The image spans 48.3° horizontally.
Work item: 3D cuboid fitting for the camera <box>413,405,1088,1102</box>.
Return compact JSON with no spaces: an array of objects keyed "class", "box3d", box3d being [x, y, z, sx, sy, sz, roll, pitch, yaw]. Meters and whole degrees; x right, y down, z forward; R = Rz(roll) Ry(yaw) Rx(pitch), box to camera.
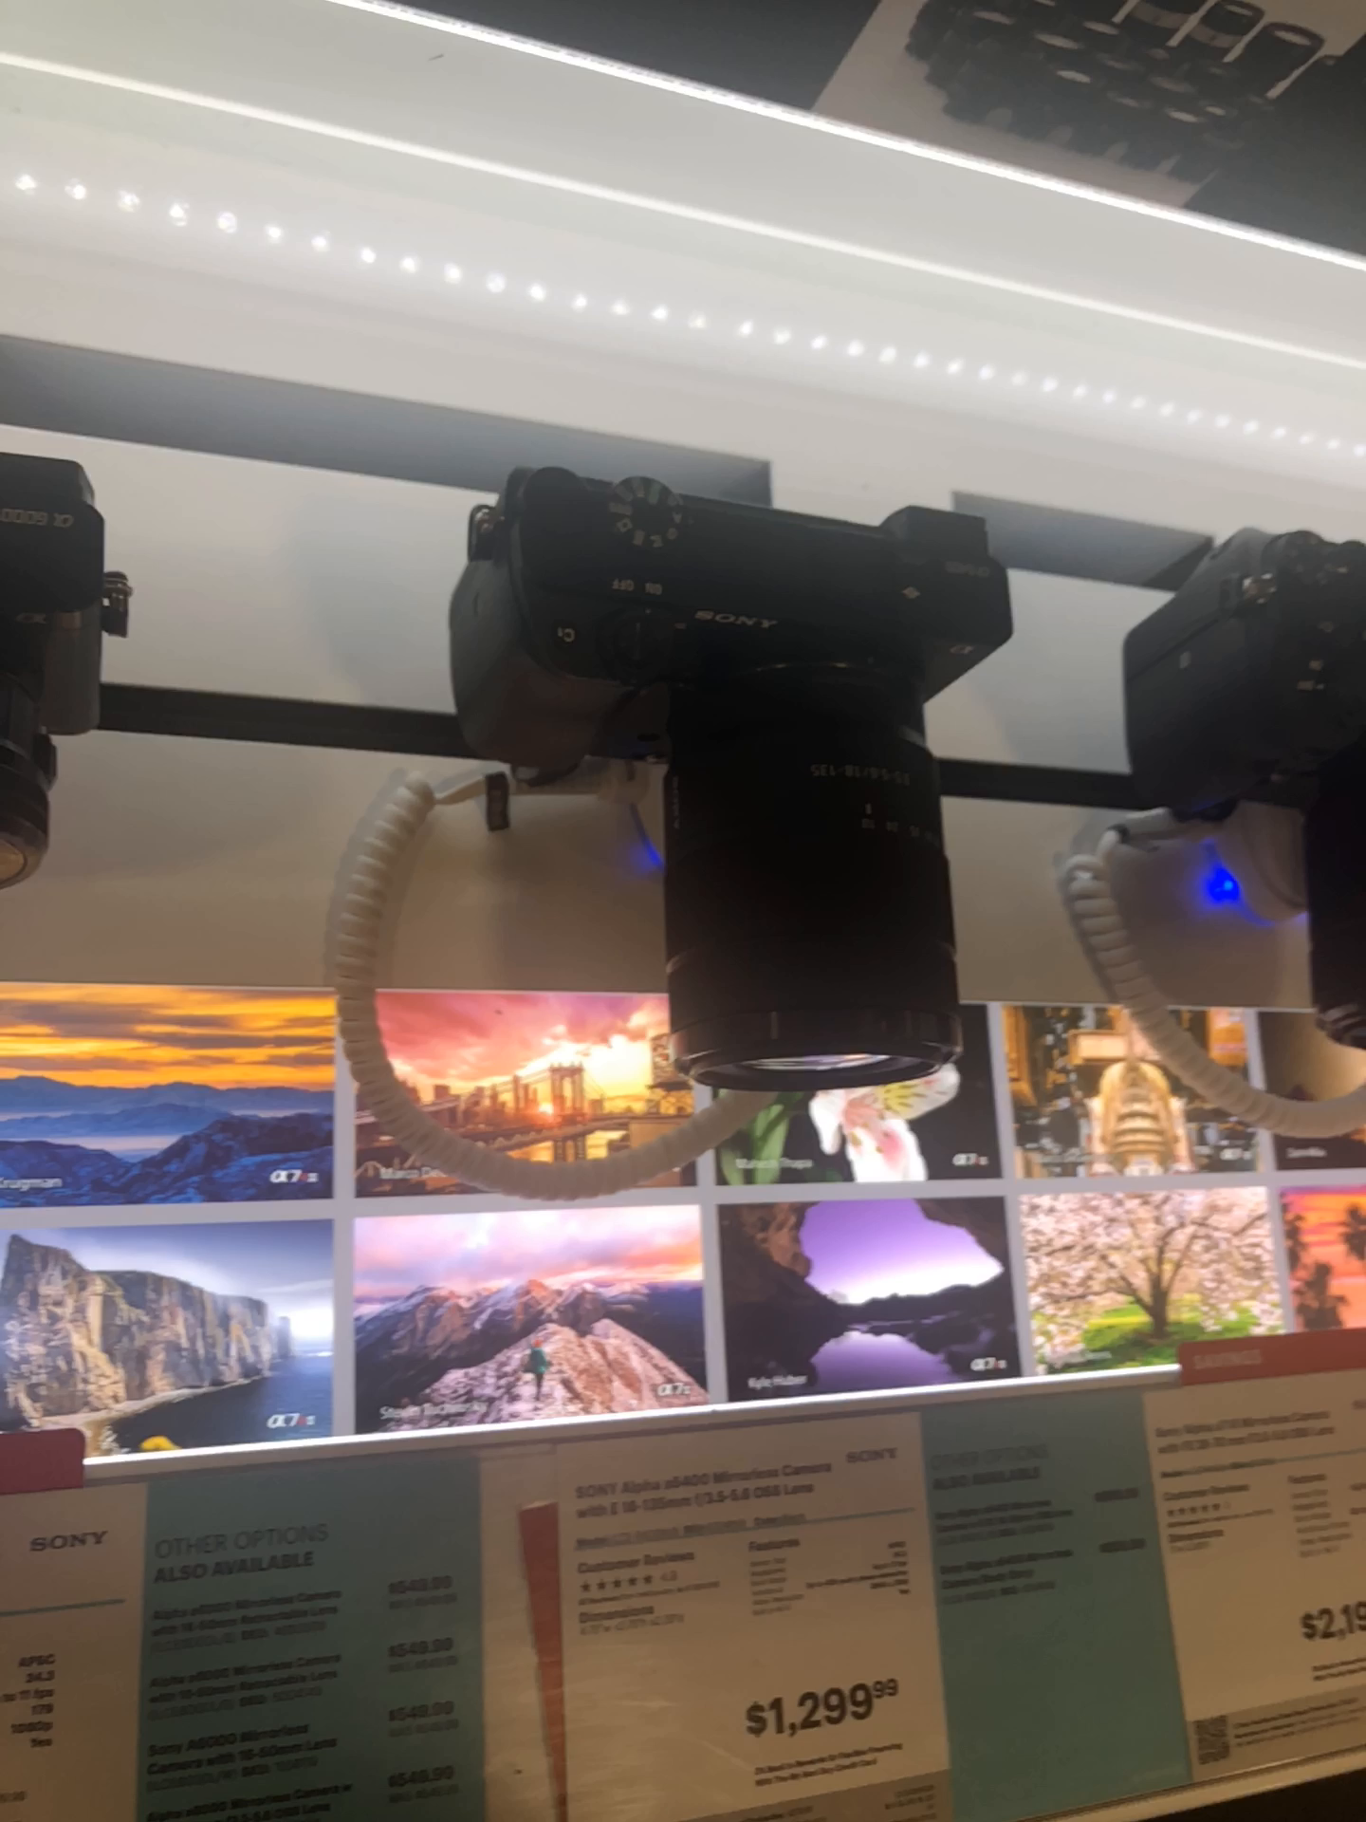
[{"class":"camera","box3d":[0.012,-0.027,0.347,0.130,0.070,0.130,4,76,-21]}]
